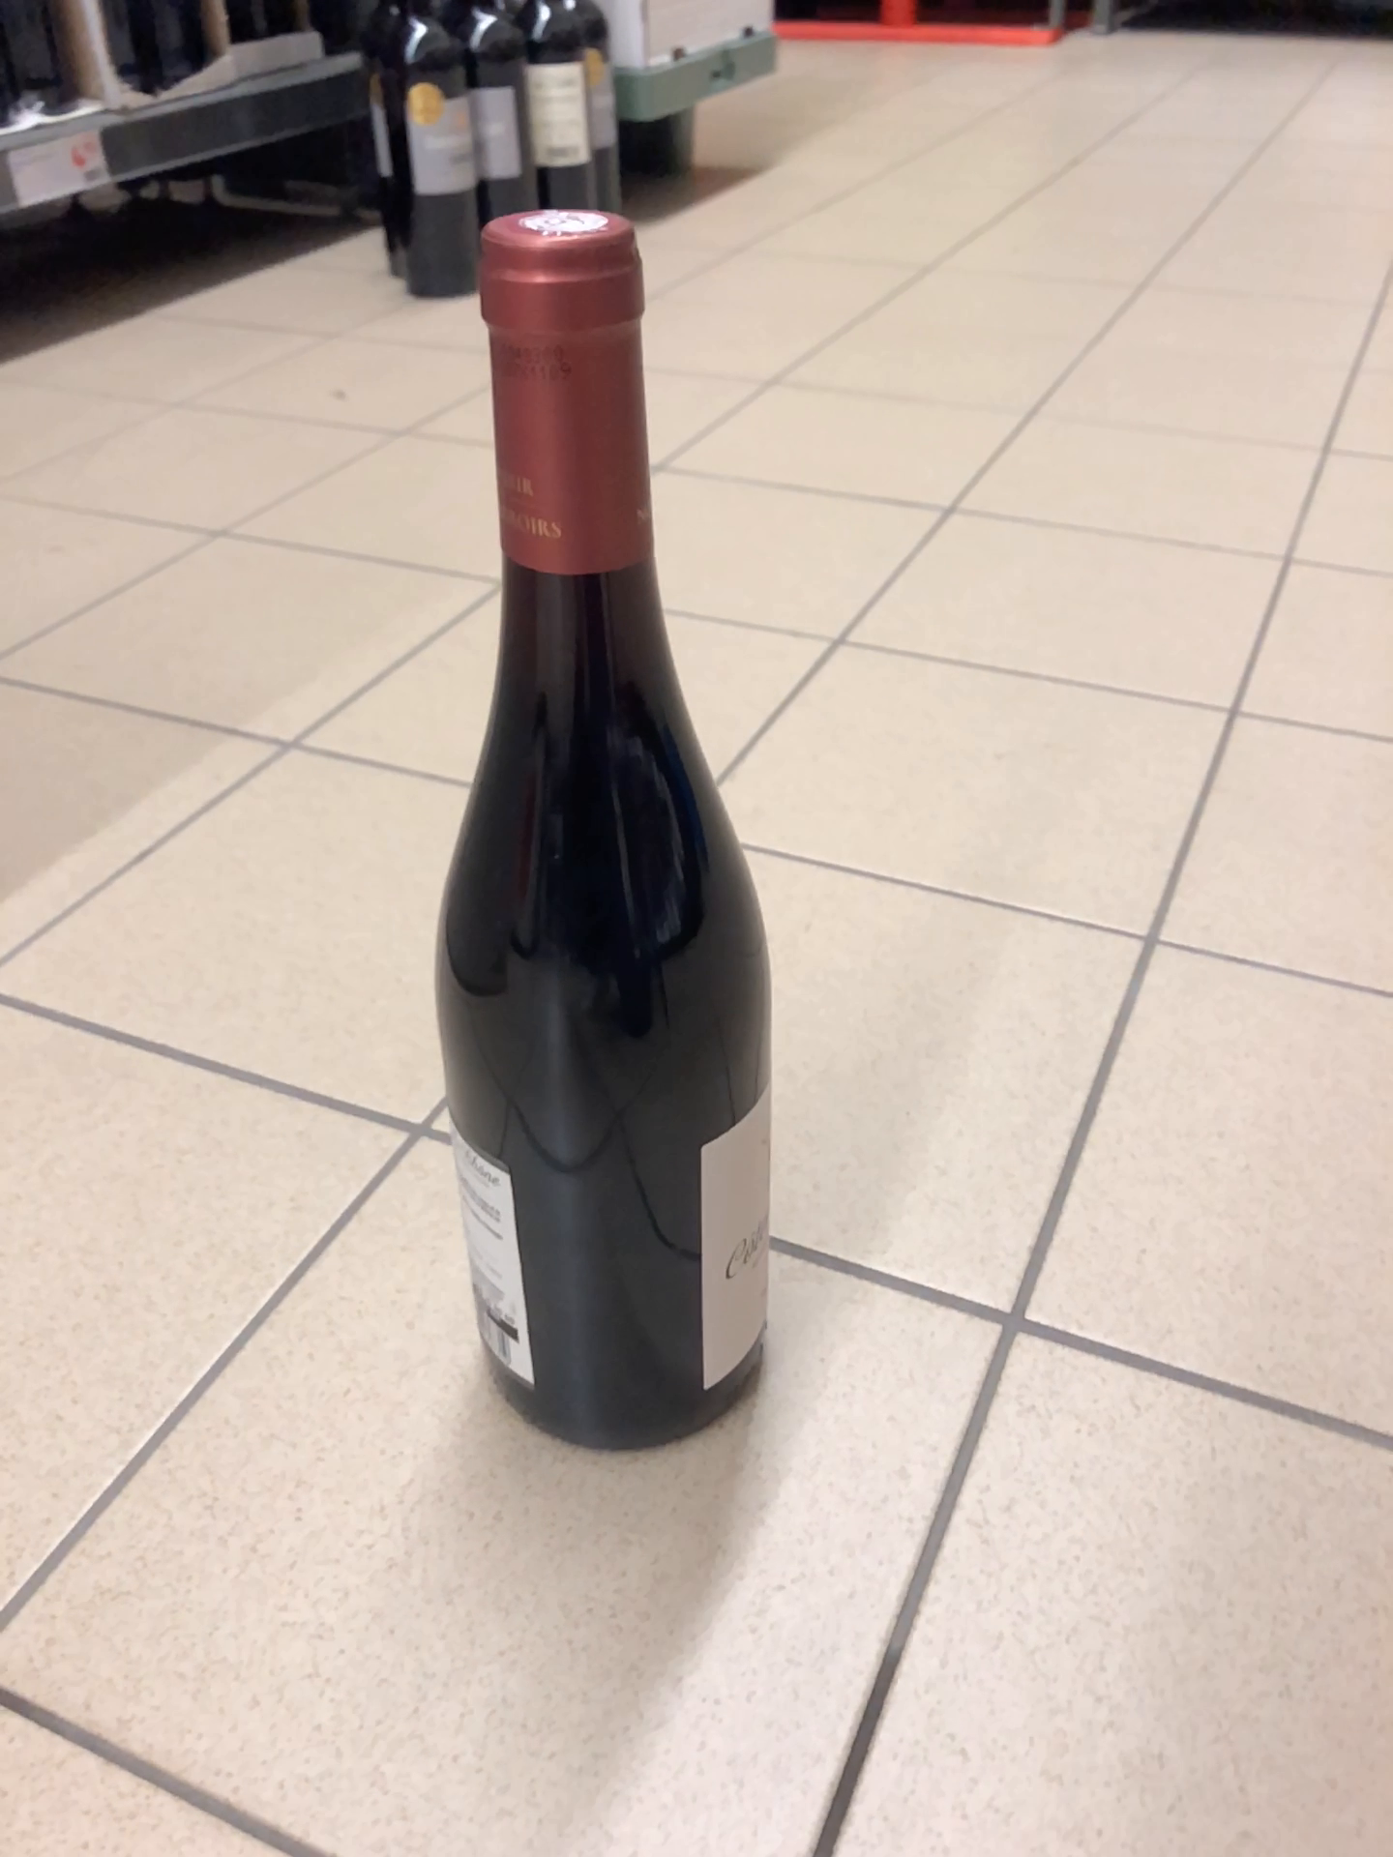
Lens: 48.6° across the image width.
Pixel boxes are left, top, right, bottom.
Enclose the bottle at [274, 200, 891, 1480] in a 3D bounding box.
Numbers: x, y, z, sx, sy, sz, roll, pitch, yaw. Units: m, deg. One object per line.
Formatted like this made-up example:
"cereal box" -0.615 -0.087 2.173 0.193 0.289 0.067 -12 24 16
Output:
"bottle" -0.017 -0.004 0.339 0.090 0.268 0.090 -1 35 1
